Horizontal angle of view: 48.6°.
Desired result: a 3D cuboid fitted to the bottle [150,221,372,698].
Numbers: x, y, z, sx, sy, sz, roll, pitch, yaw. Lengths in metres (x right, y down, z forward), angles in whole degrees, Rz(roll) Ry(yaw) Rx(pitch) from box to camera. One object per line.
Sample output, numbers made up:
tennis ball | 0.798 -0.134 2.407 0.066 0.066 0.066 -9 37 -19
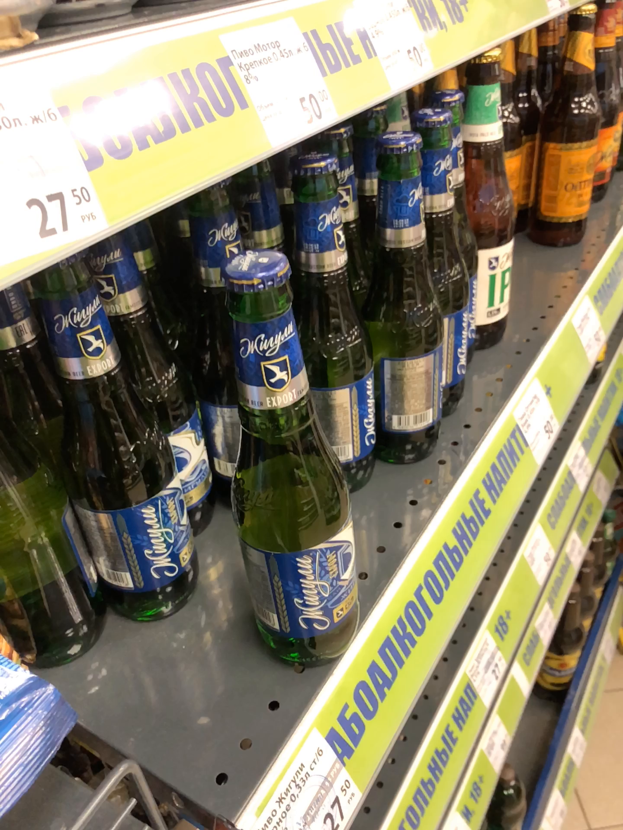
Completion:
bottle | -0.012 0.034 0.343 0.063 0.238 0.063 -3 35 2
